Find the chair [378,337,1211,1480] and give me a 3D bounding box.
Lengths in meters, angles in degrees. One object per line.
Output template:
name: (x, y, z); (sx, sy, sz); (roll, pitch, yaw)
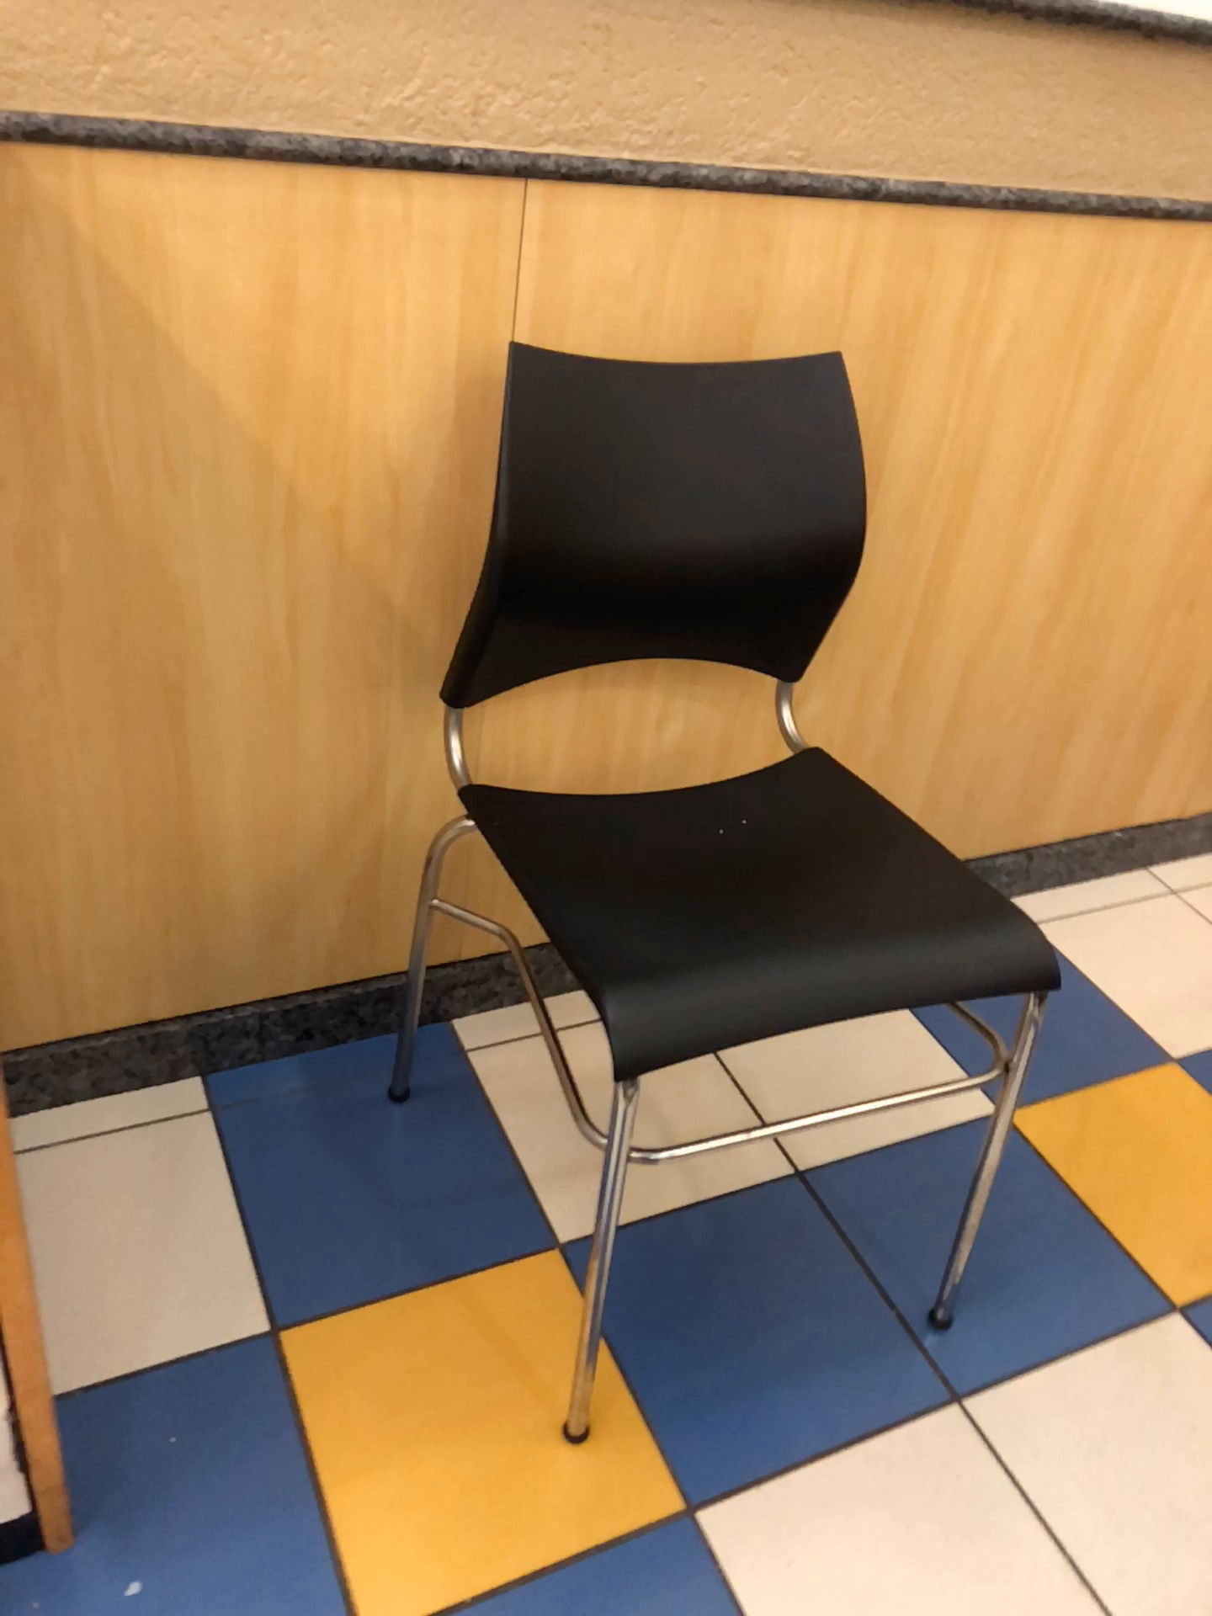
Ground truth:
chair: (0.111, 0.072, 1.292); (0.511, 0.873, 0.553); (-7, 35, -23)
